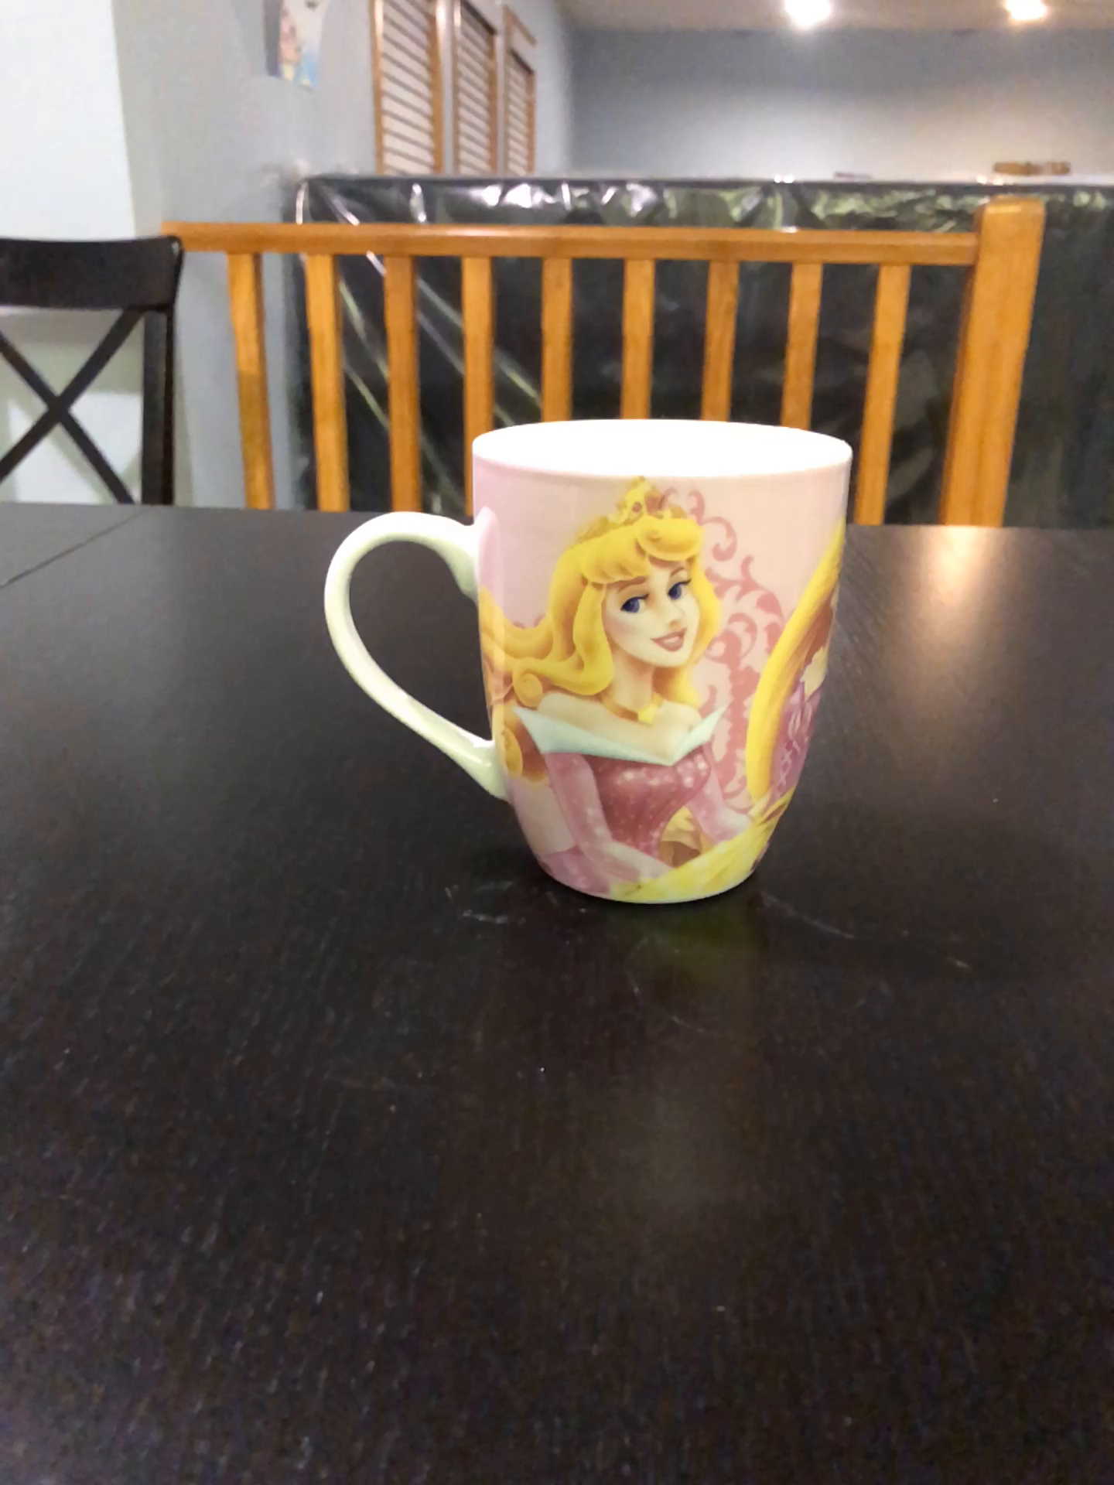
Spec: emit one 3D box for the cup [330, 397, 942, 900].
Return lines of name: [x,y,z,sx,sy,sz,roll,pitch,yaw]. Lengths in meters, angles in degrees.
cup: [0.014,-0.028,0.303,0.120,0.100,0.090,0,20,-2]
